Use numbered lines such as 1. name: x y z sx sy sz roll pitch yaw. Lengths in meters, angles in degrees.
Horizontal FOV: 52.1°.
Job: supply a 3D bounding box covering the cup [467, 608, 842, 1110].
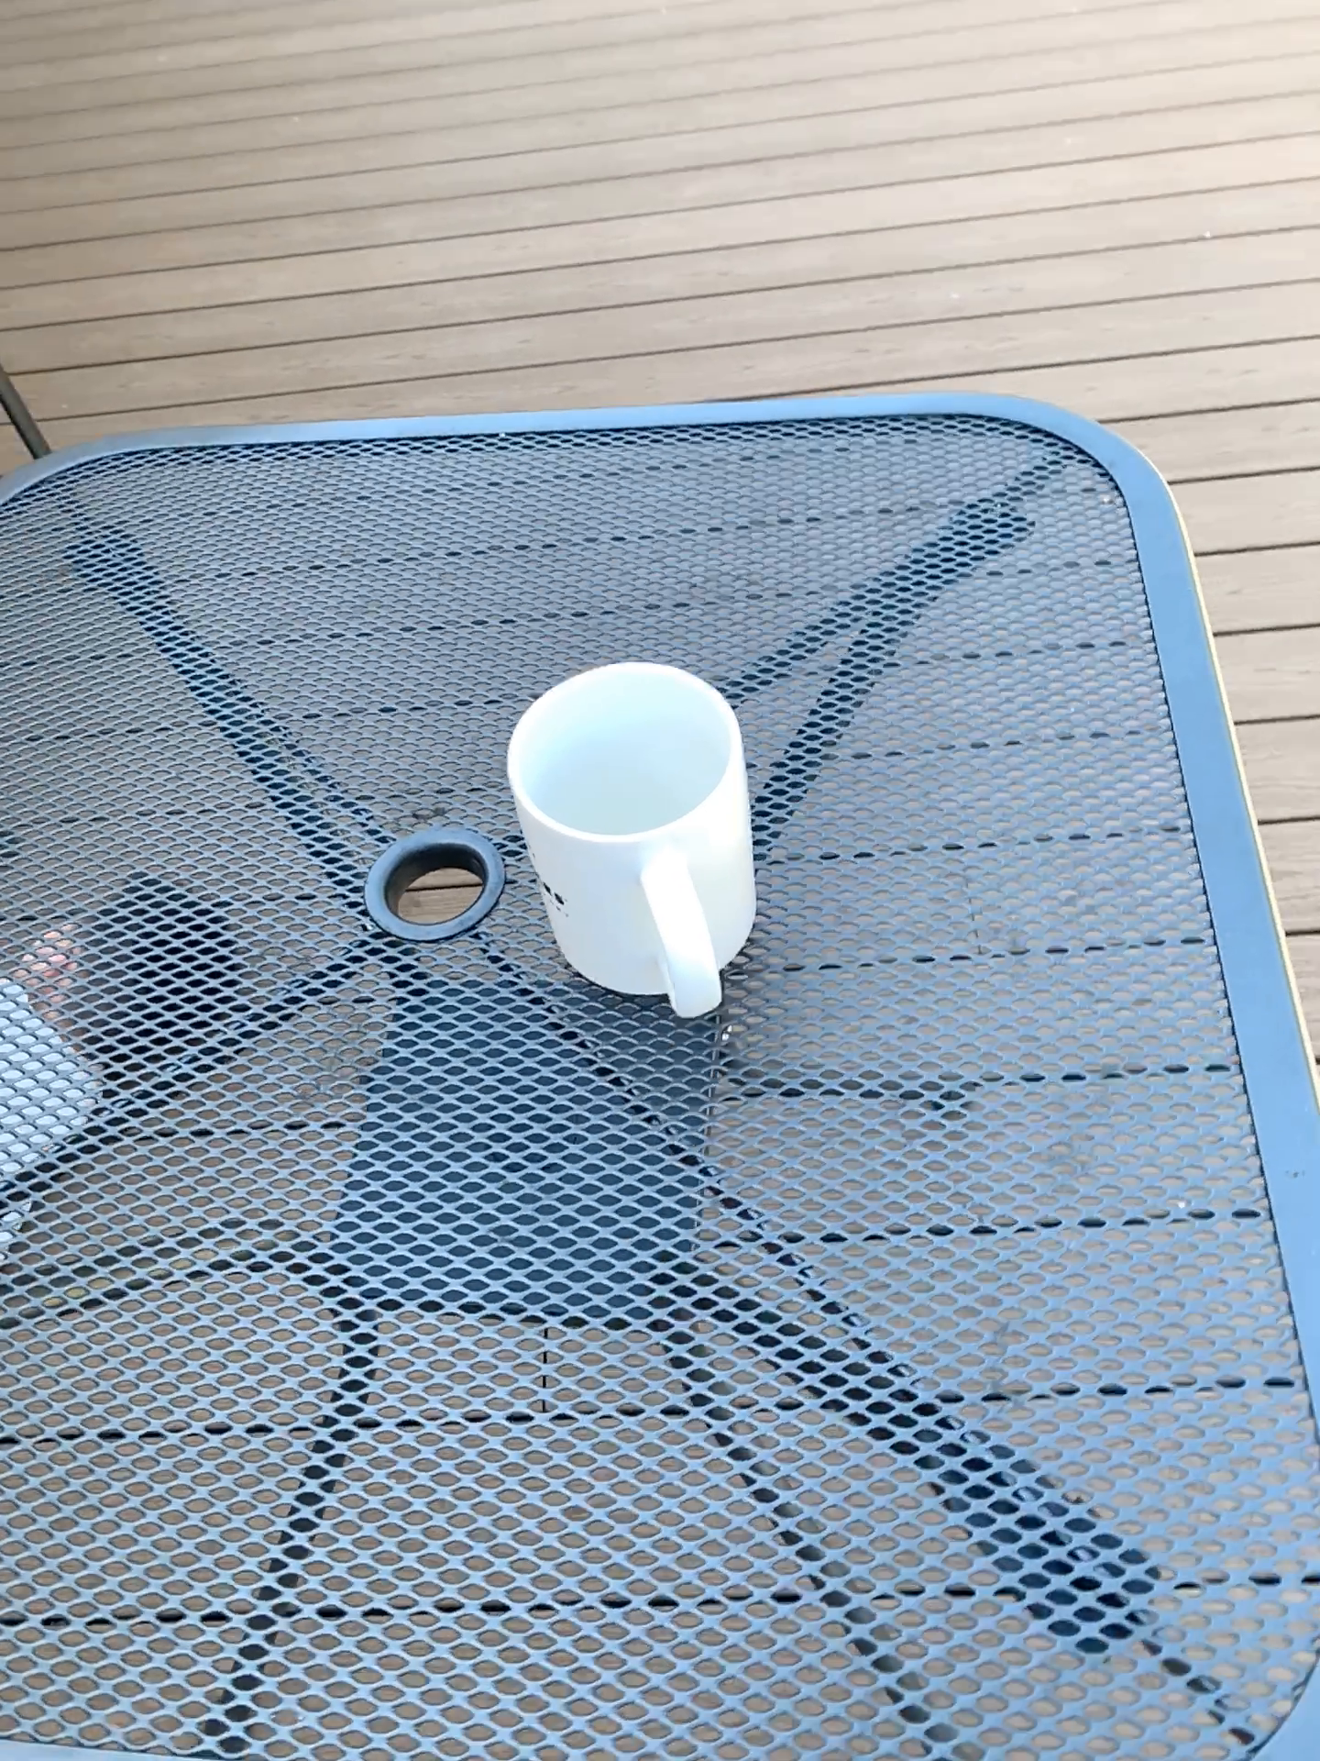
1. cup: -0.001 -0.008 0.516 0.100 0.110 0.131 -17 53 -5
